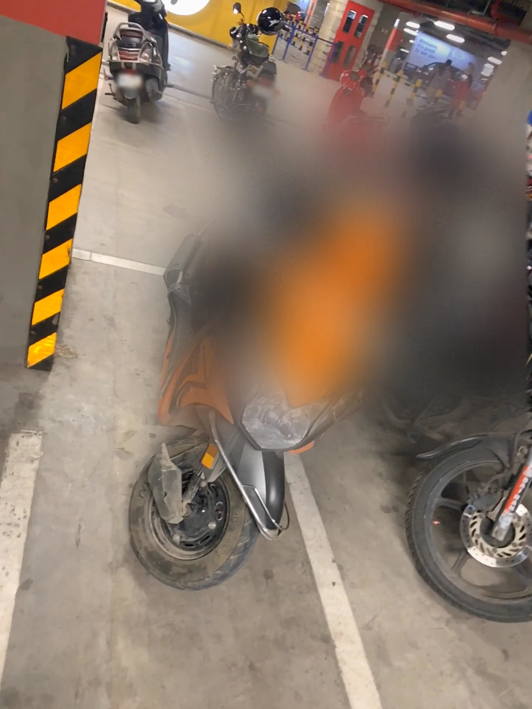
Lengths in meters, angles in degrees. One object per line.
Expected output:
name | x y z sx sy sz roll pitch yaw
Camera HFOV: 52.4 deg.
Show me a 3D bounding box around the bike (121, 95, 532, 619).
bike | 0.087 -0.115 2.025 0.724 1.172 1.614 15 32 -13
